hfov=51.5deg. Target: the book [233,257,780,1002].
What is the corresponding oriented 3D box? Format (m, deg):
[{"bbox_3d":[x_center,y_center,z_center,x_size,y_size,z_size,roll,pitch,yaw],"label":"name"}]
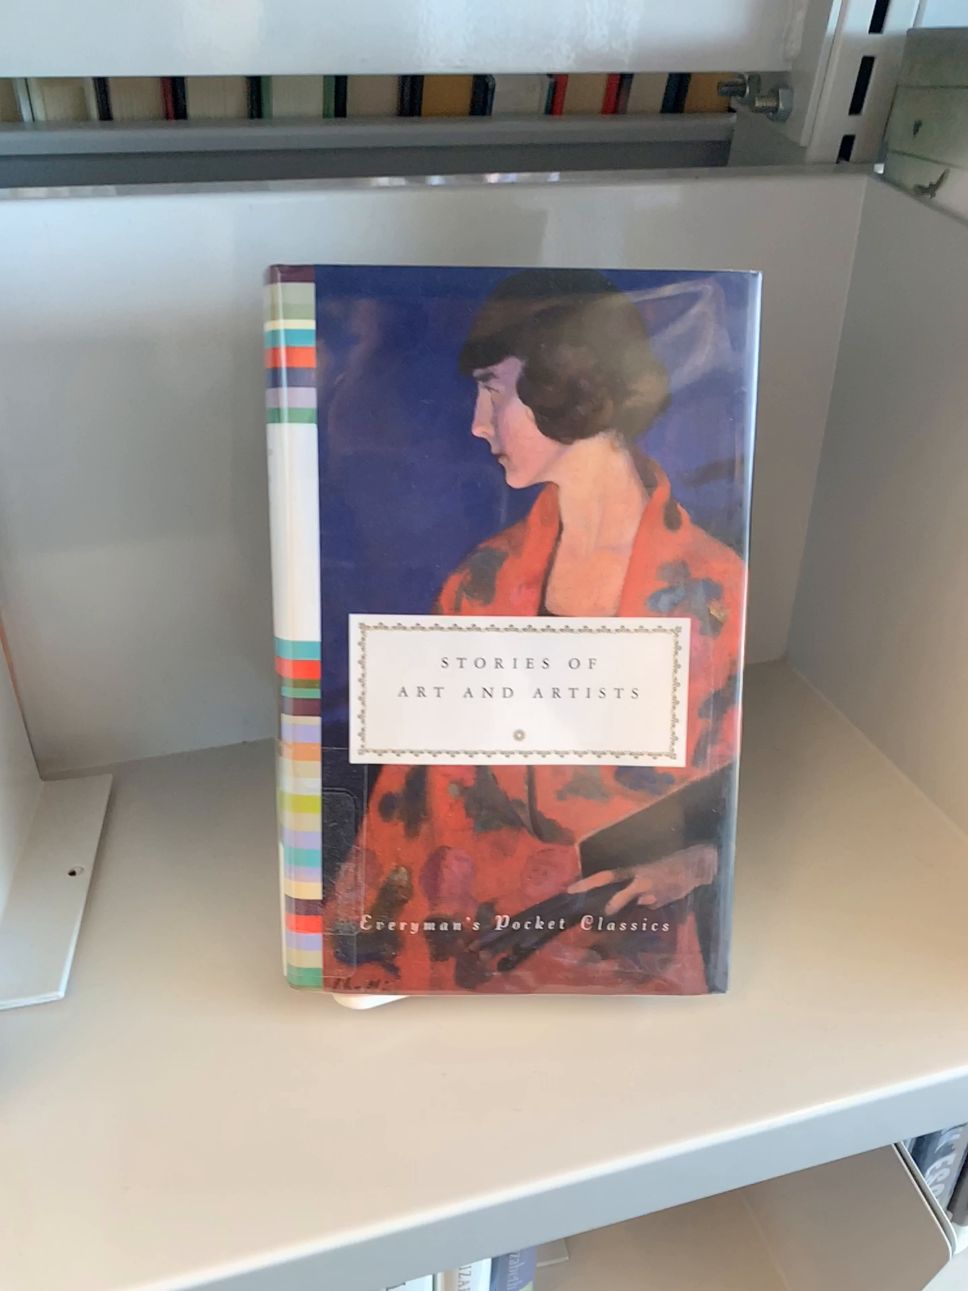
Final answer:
[{"bbox_3d":[0.003,-0.002,0.272,0.129,0.187,0.040,1,10,0],"label":"book"}]
